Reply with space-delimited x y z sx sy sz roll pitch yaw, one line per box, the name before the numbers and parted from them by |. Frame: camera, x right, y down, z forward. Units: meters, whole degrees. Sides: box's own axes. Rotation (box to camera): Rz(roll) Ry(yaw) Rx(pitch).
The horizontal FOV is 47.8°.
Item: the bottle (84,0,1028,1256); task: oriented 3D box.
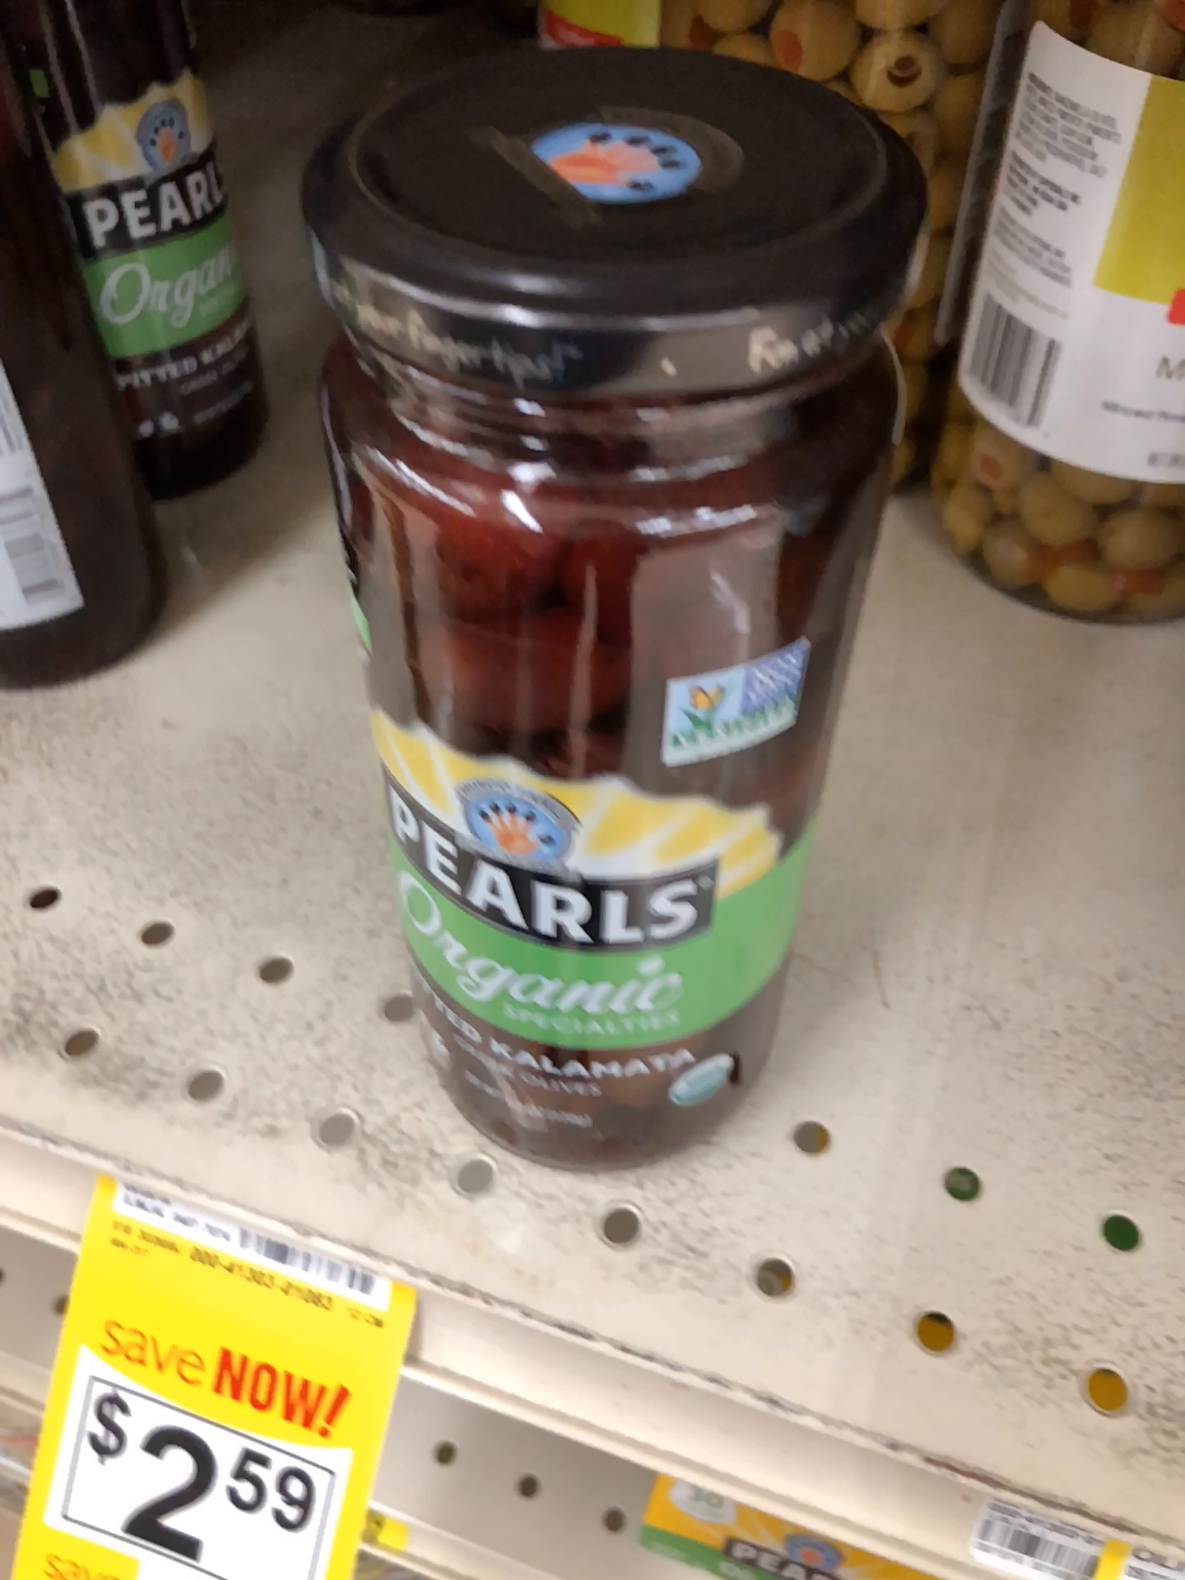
bottle | 0.001 -0.009 0.171 0.063 0.150 0.060 0 49 0
